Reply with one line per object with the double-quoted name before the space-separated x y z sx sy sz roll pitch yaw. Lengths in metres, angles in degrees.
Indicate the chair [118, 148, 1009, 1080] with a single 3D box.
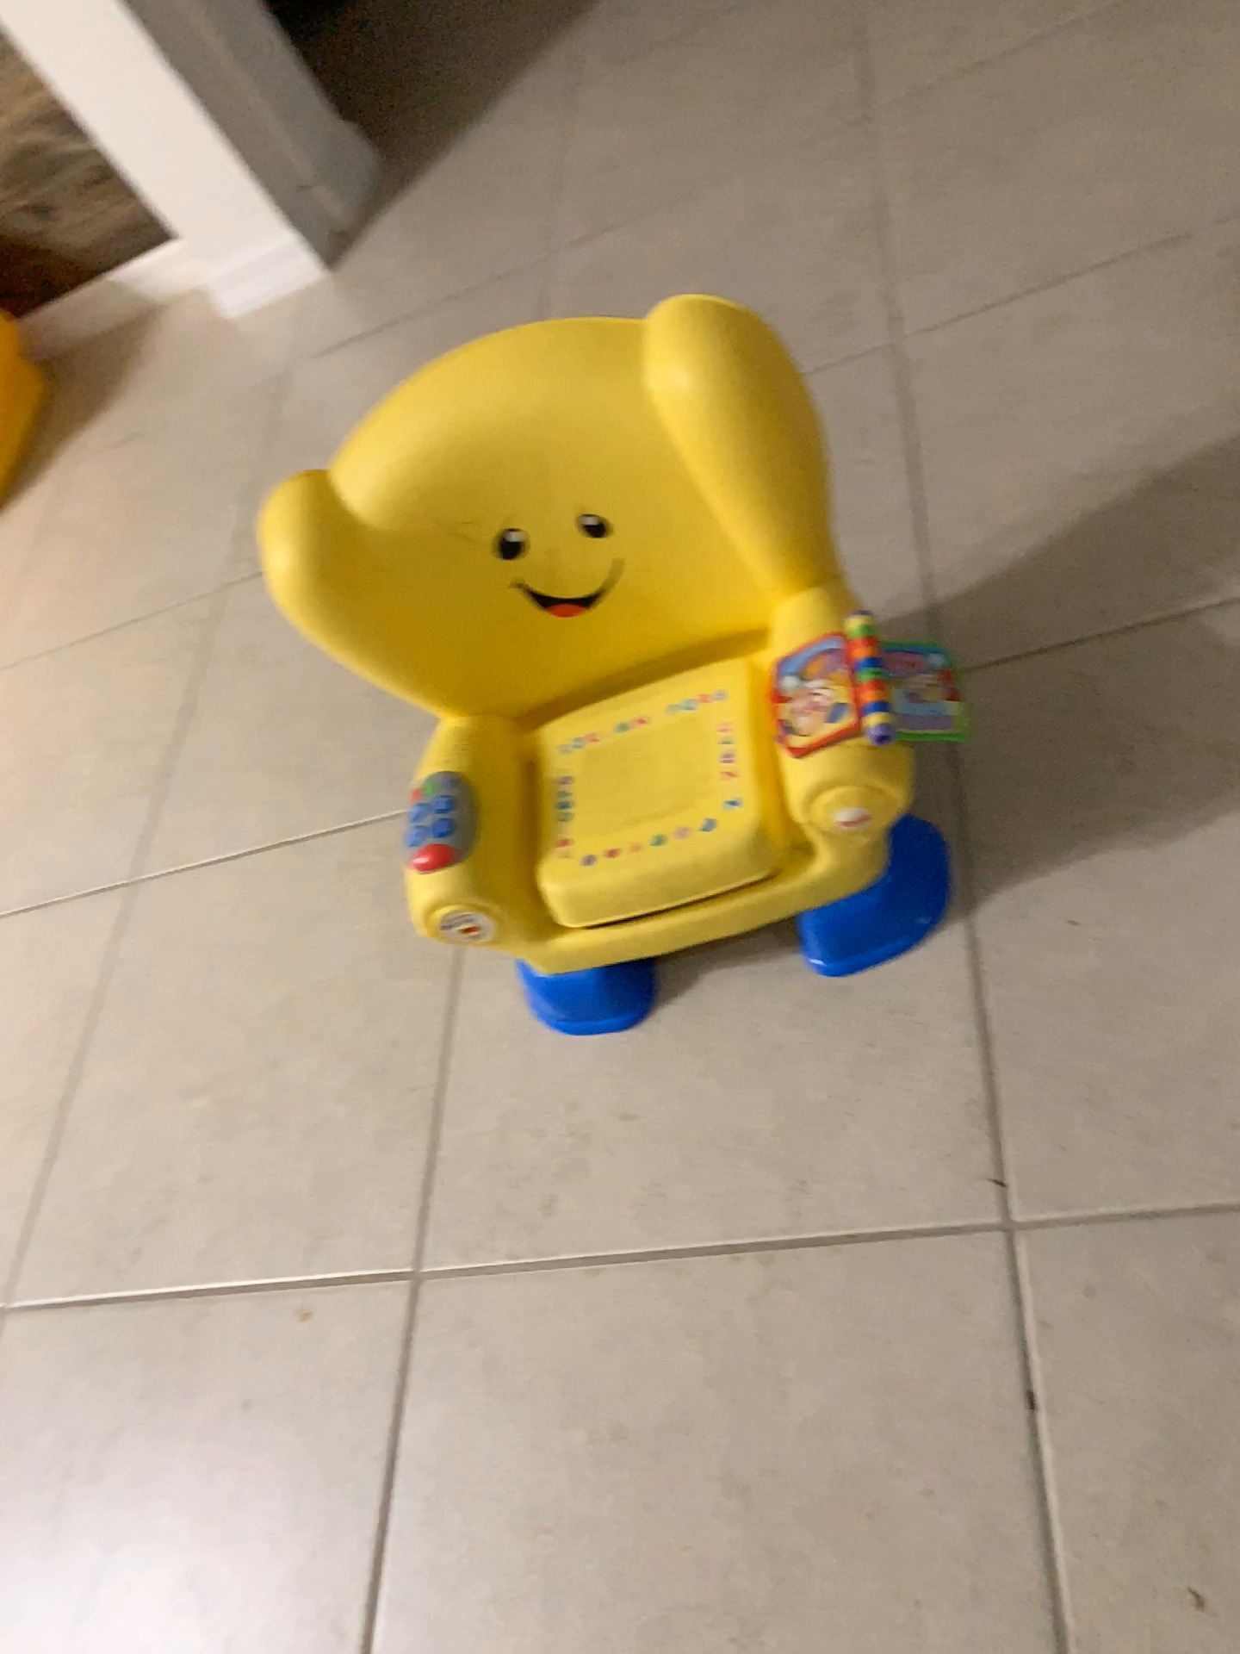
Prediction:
"chair" -0.003 -0.109 0.965 0.420 0.486 0.373 -16 51 22
